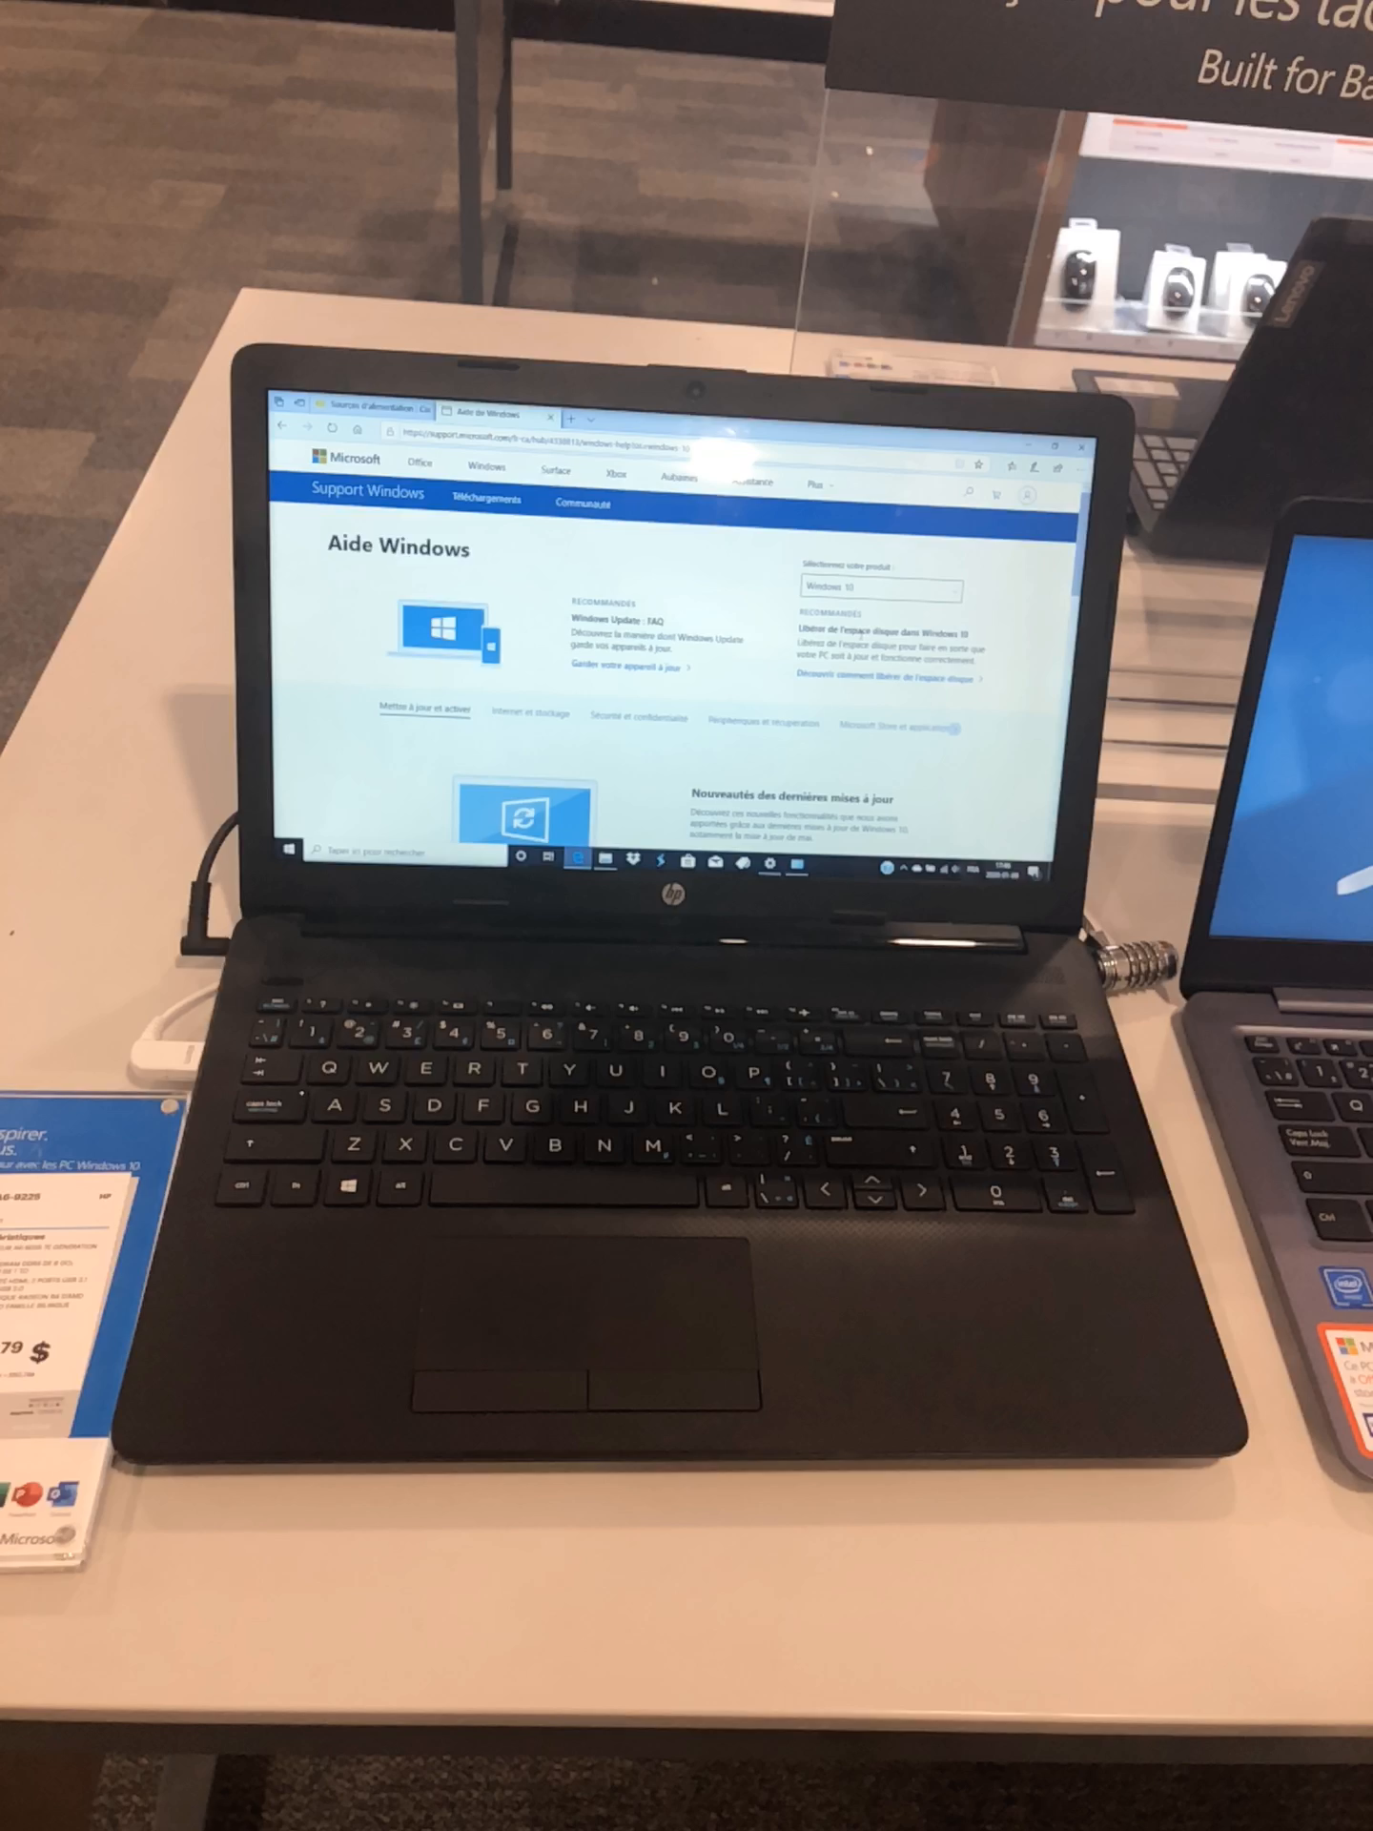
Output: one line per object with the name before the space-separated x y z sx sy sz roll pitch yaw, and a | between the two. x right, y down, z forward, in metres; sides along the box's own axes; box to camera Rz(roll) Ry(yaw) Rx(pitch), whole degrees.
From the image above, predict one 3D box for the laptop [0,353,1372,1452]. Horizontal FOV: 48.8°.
laptop | 0.002 -0.025 0.544 0.356 0.195 0.361 1 43 -4
